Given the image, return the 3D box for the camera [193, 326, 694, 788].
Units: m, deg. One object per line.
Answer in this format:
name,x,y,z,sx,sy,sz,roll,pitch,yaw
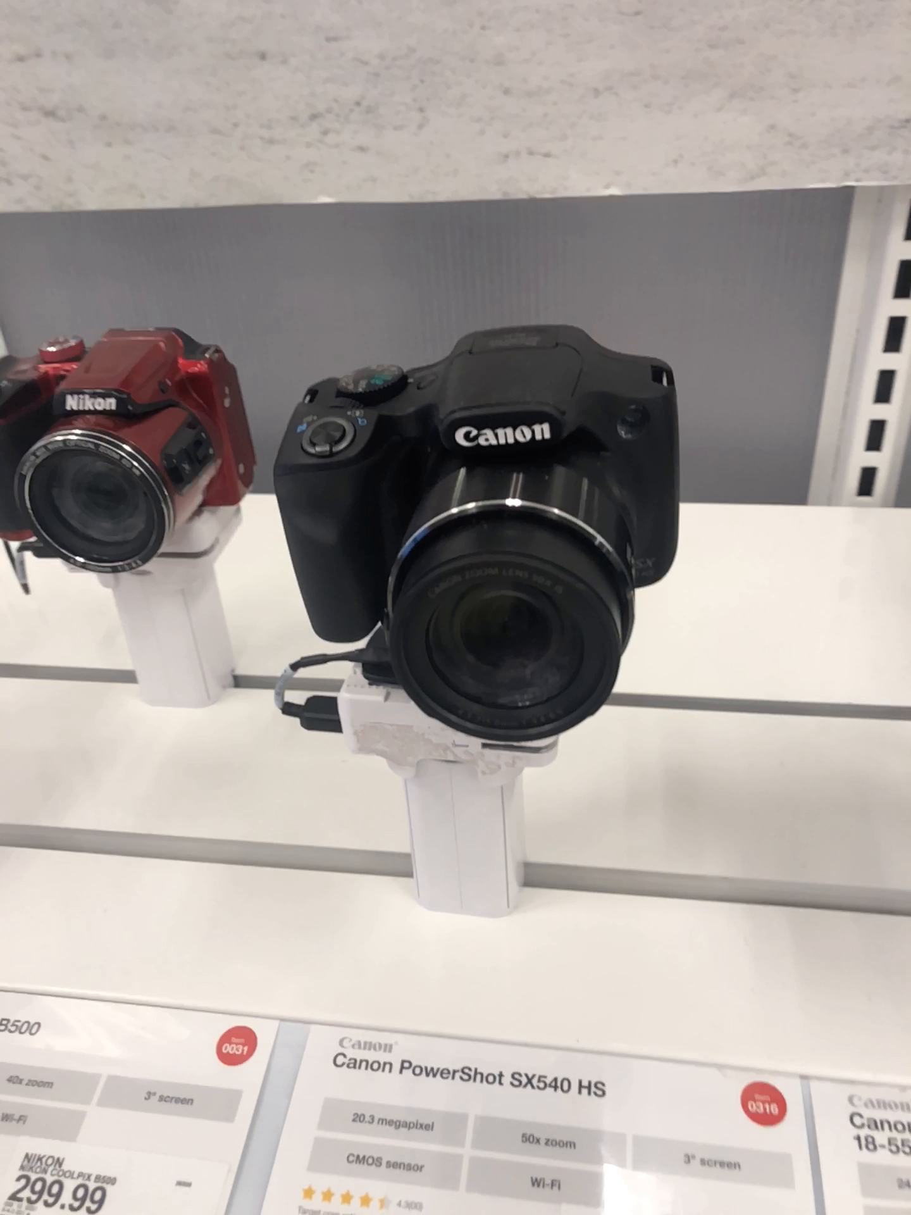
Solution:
camera,0.004,-0.017,0.261,0.100,0.076,0.099,0,35,7
